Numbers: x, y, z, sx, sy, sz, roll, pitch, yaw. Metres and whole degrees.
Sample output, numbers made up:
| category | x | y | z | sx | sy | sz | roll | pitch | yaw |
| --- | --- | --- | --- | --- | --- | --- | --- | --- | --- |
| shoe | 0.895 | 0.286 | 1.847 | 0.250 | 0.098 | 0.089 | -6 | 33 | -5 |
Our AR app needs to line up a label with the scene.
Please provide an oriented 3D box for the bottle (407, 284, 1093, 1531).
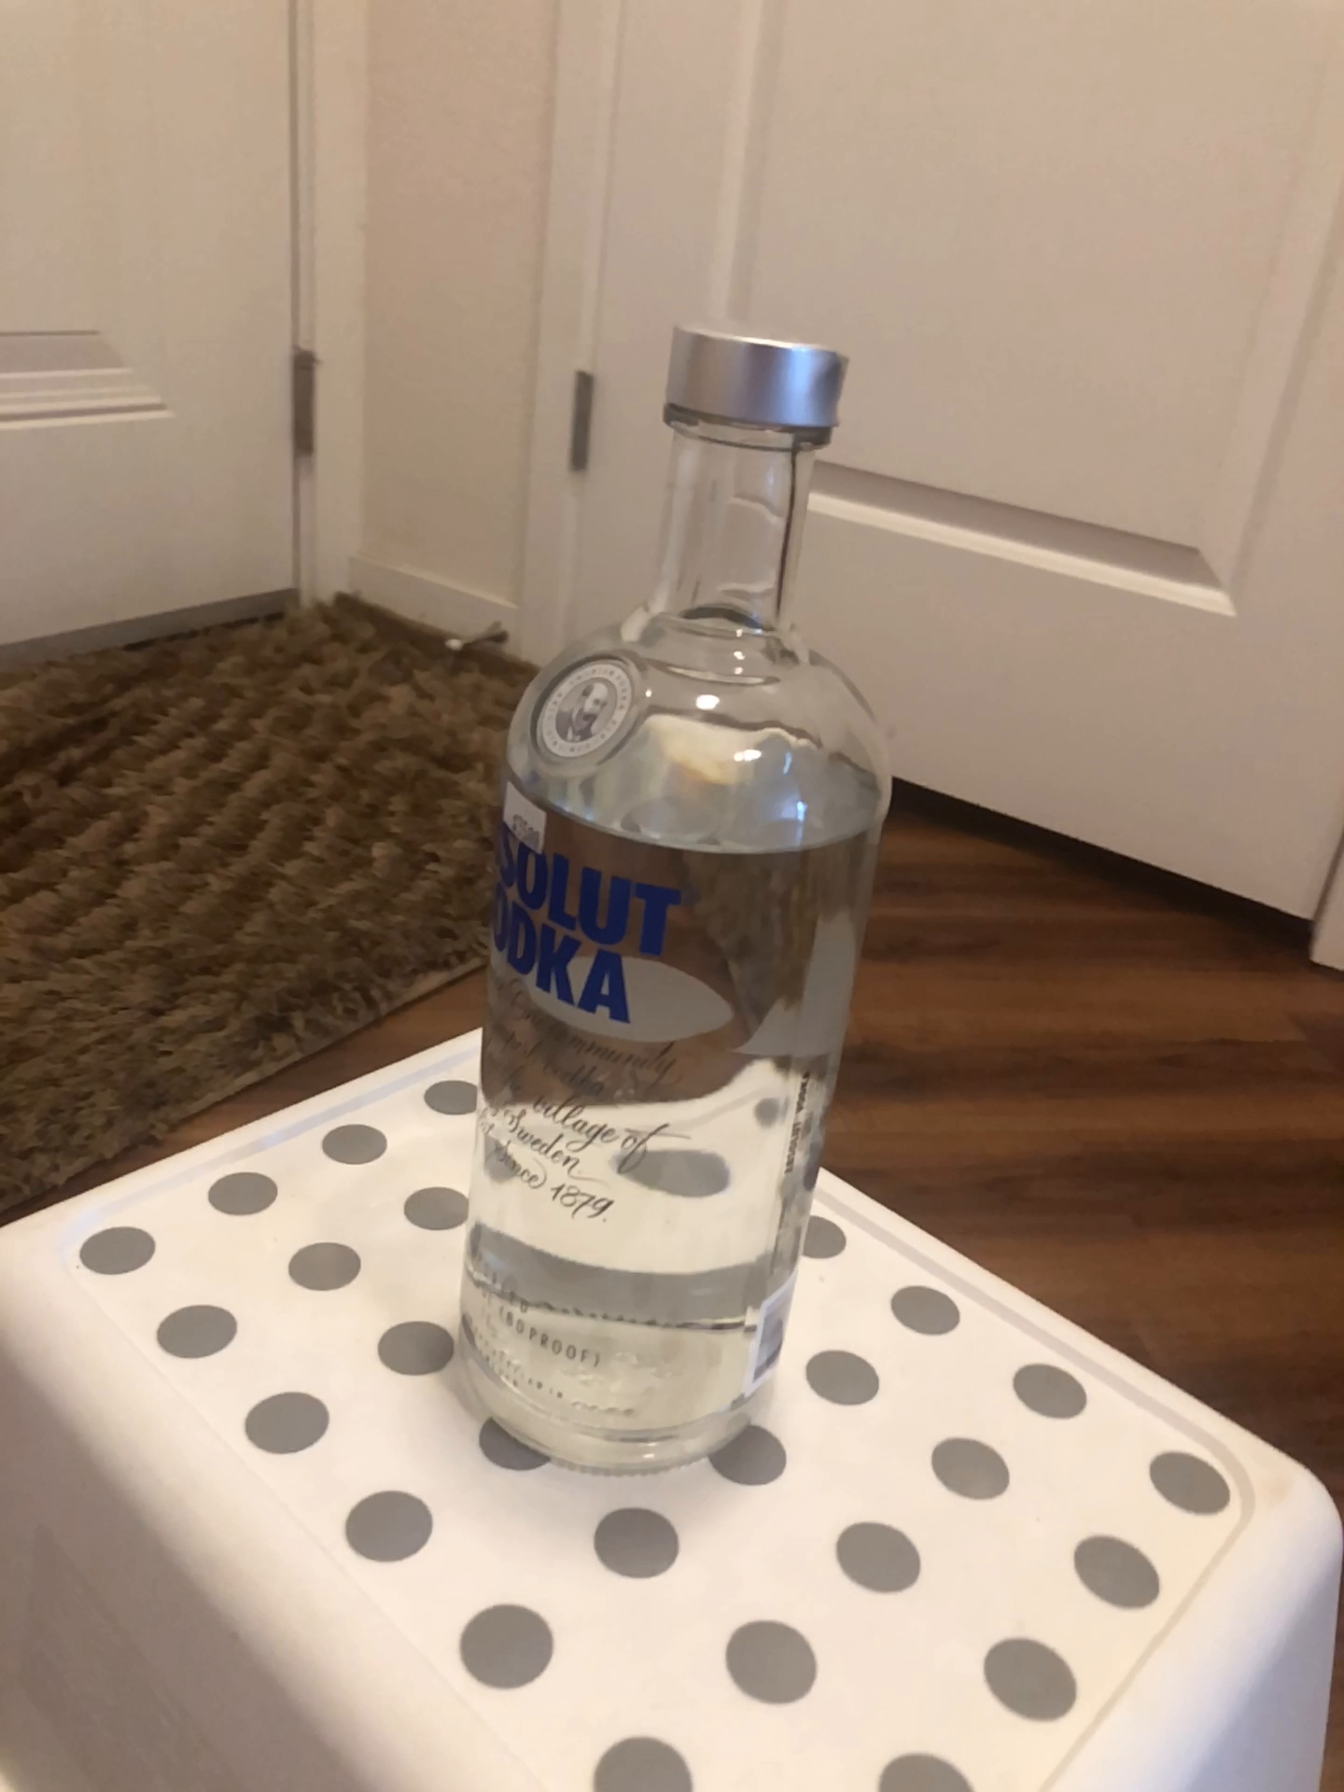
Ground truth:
| category | x | y | z | sx | sy | sz | roll | pitch | yaw |
| --- | --- | --- | --- | --- | --- | --- | --- | --- | --- |
| bottle | 0.002 | 0.007 | 0.354 | 0.100 | 0.269 | 0.090 | -6 | 28 | -24 |
